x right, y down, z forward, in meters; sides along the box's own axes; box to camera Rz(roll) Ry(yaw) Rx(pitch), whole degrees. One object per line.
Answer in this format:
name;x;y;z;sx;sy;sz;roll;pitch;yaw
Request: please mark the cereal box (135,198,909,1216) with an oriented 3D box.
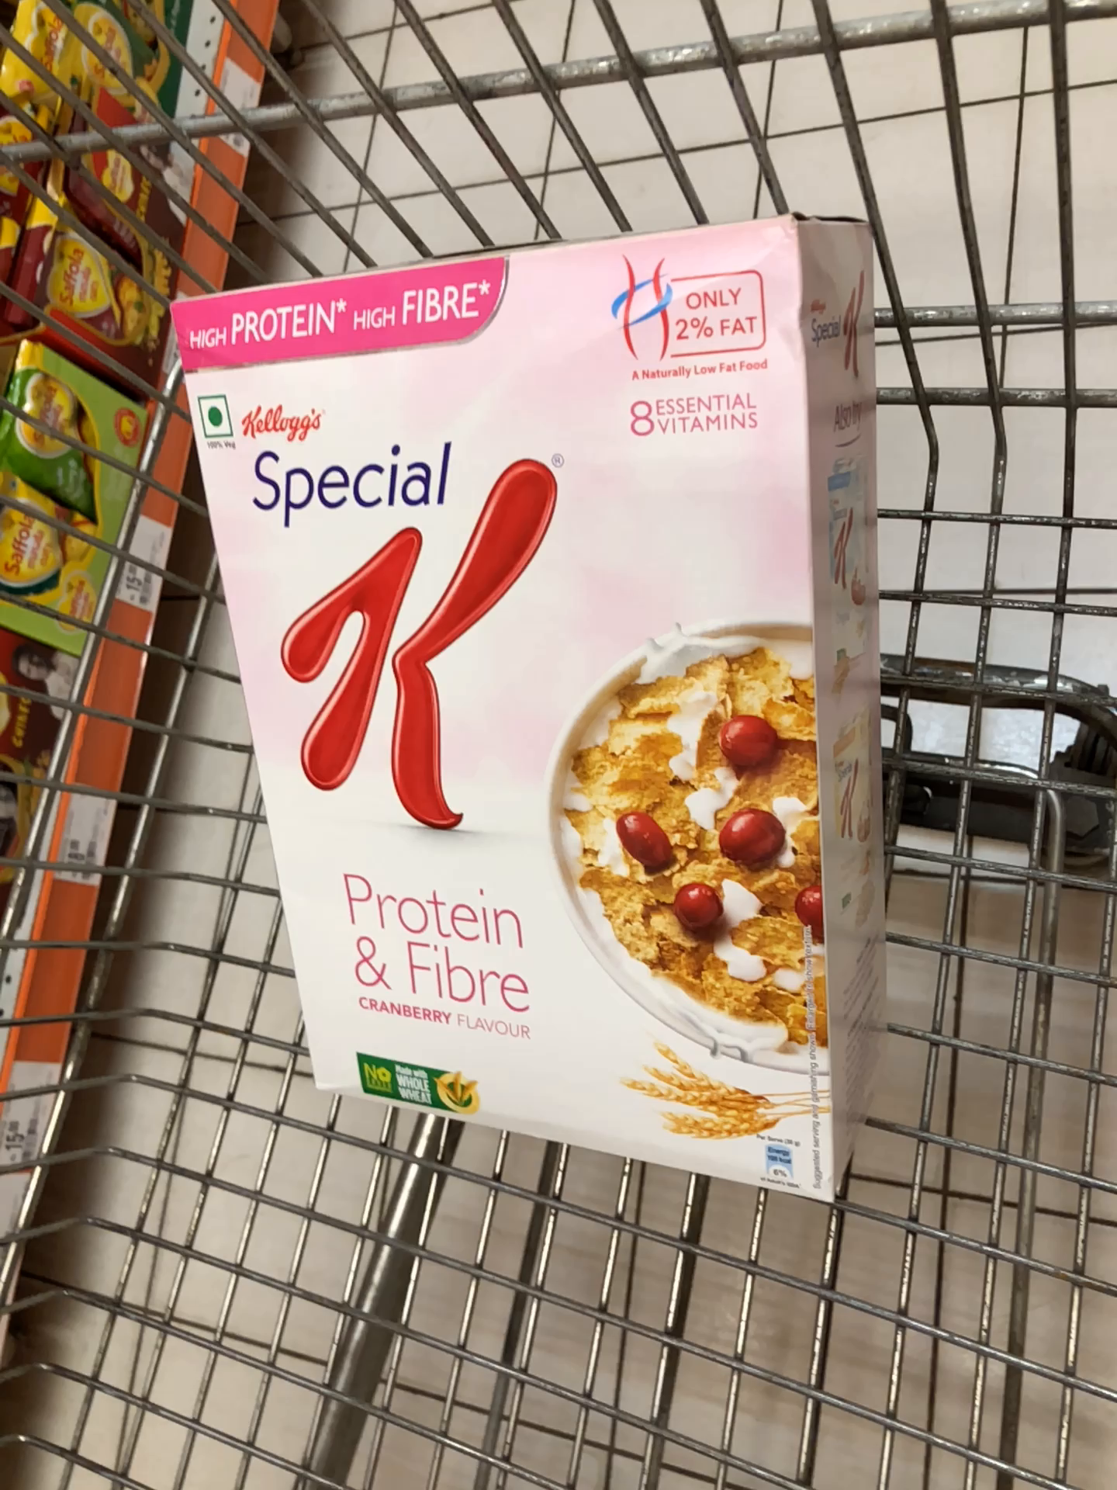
cereal box;0.004;-0.014;0.391;0.190;0.100;0.269;4;113;25
